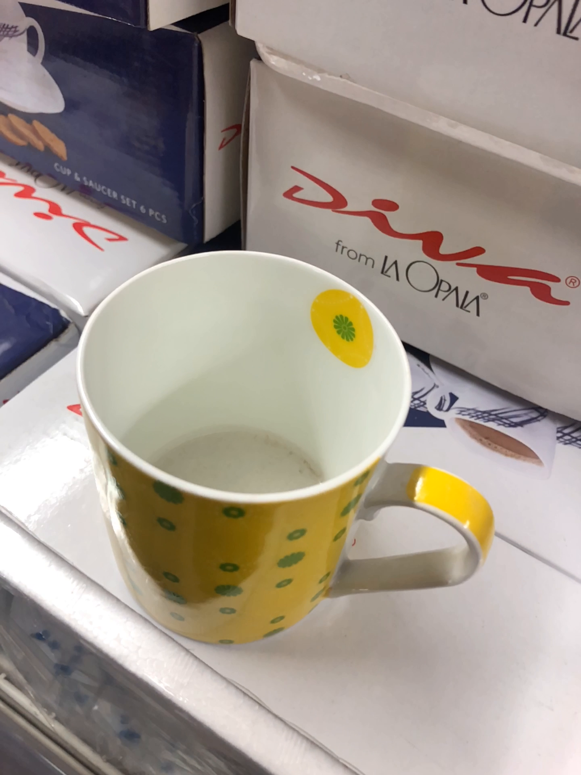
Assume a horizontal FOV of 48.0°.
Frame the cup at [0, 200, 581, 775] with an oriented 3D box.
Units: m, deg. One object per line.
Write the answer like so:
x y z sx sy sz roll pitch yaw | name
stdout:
-0.004 0.025 0.146 0.090 0.080 0.070 28 53 15 | cup
